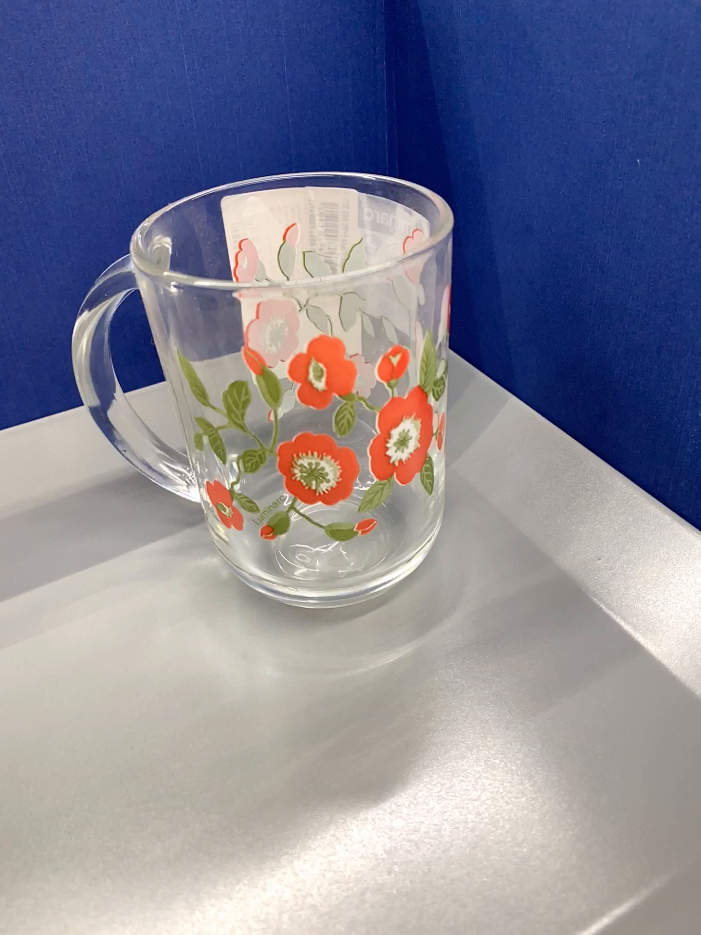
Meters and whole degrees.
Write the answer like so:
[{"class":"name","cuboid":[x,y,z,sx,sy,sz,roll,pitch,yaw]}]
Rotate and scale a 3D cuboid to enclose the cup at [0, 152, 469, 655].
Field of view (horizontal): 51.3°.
[{"class":"cup","cuboid":[-0.028,-0.022,0.205,0.114,0.104,0.088,3,36,9]}]
